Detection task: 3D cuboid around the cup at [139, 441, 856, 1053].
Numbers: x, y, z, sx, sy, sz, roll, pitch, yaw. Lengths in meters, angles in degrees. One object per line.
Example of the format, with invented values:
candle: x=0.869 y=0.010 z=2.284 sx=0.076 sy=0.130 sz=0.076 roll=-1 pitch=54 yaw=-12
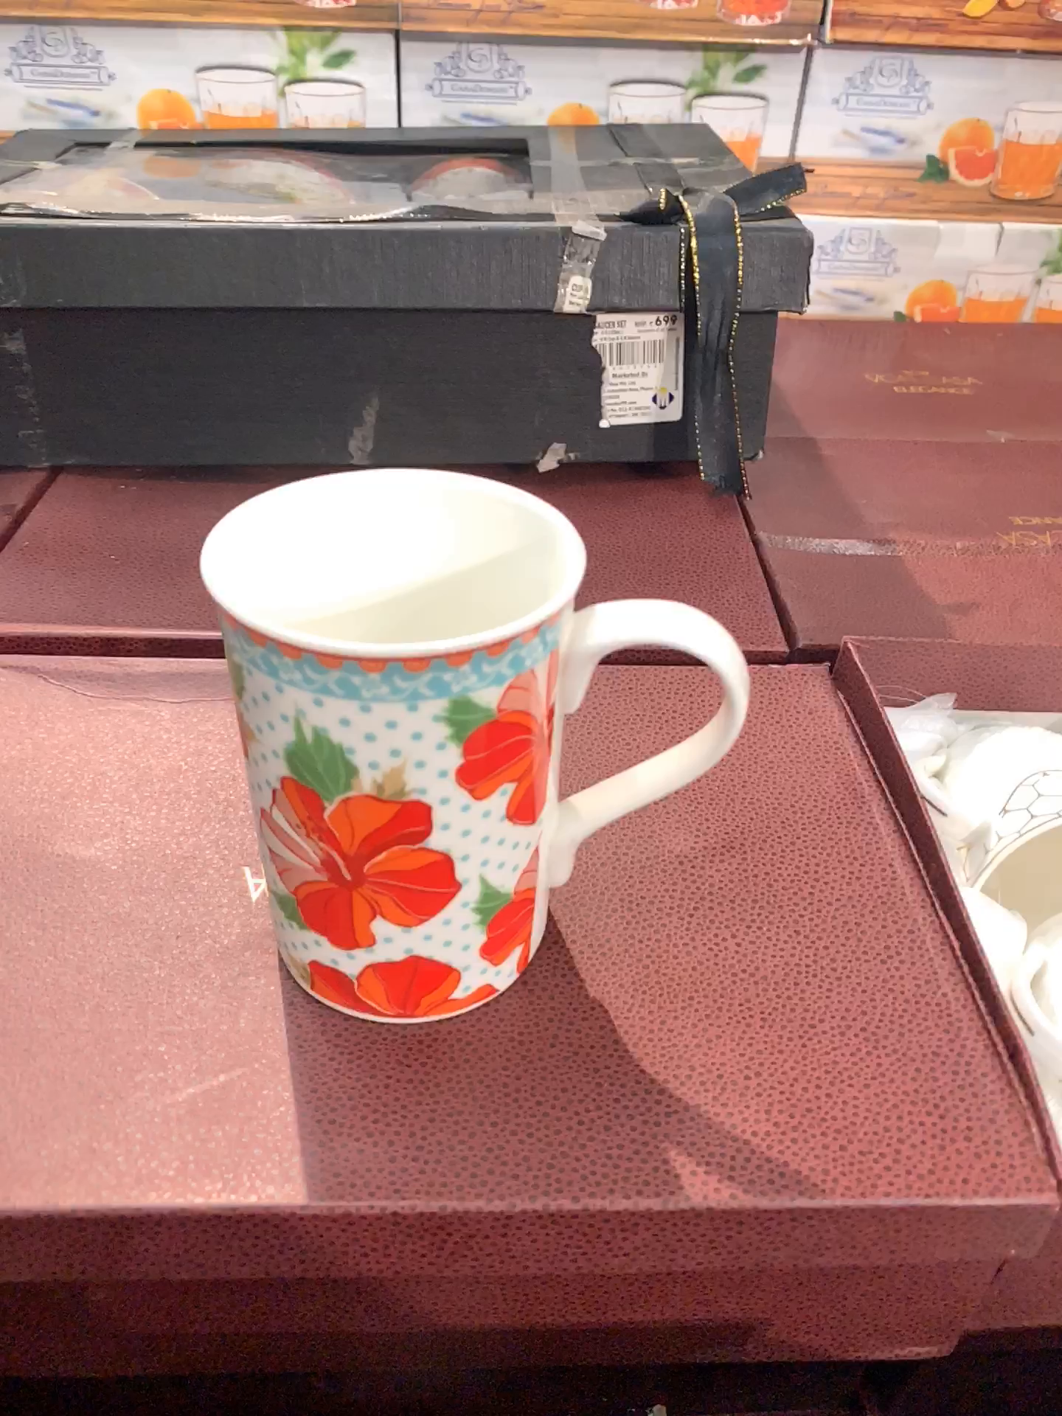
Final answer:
cup: x=-0.007 y=0.009 z=0.248 sx=0.120 sy=0.110 sz=0.080 roll=1 pitch=36 yaw=-1
